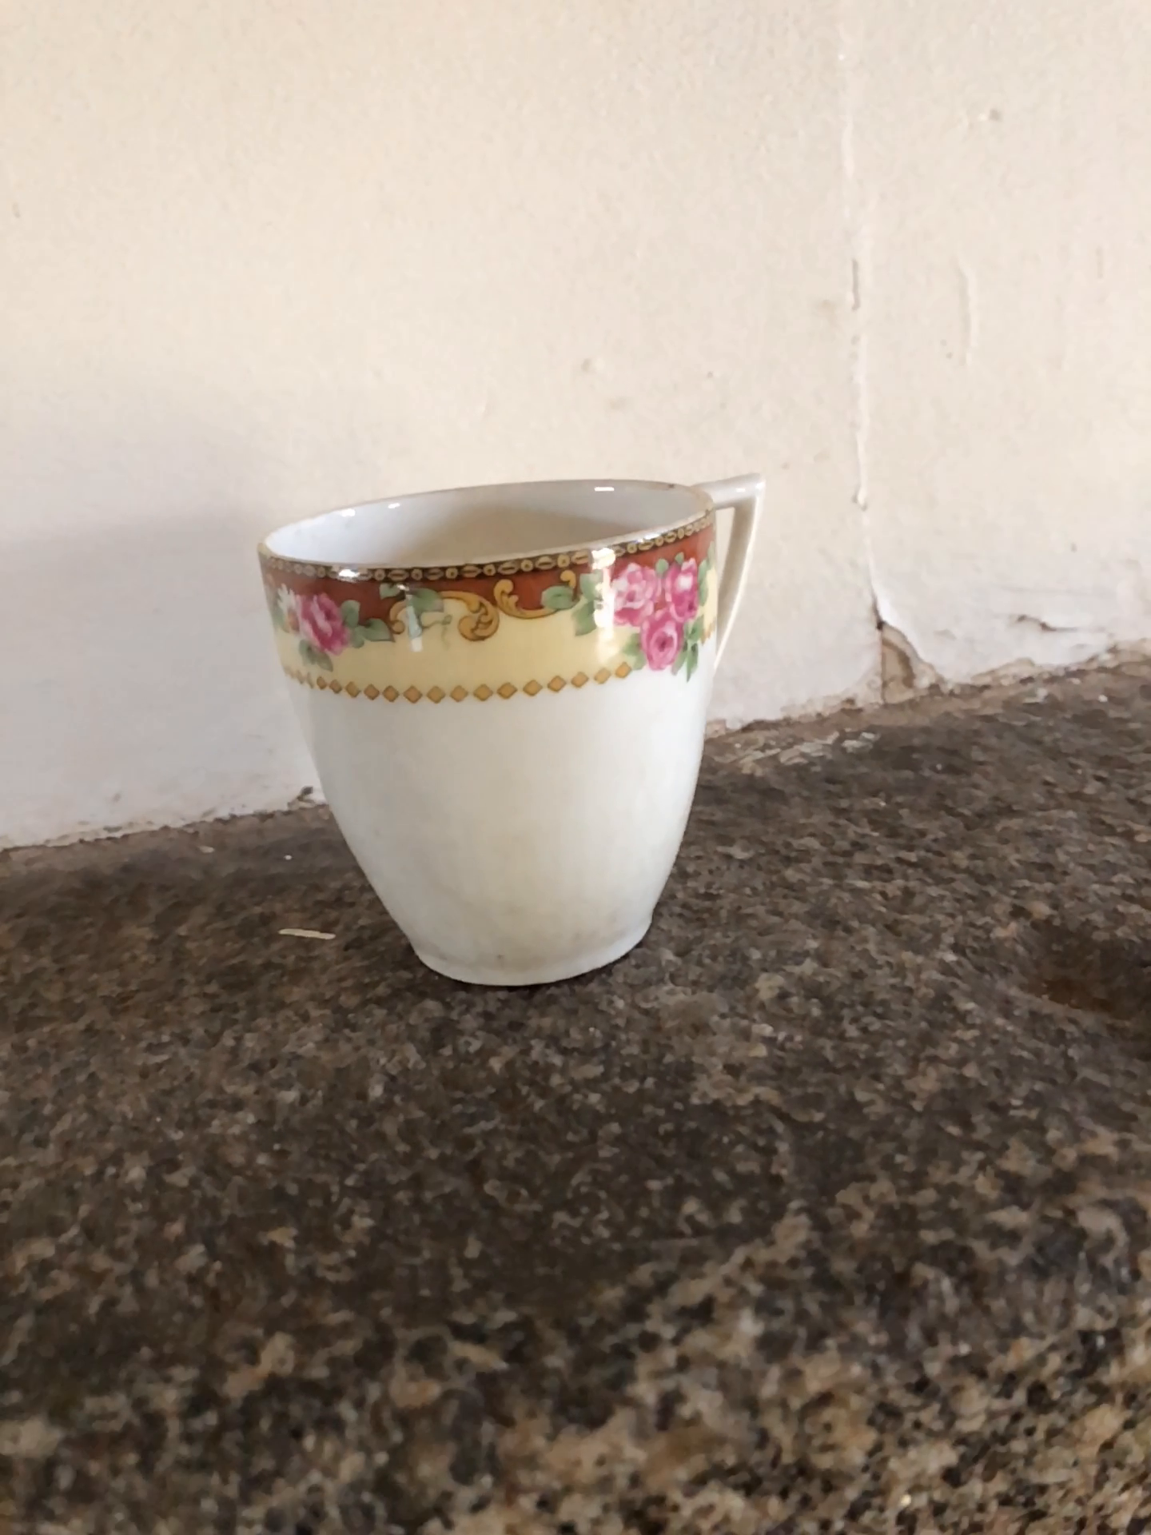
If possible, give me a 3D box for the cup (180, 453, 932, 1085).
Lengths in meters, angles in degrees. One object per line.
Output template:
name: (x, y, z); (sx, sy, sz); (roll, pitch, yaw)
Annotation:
cup: (-0.003, -0.009, 0.201); (0.090, 0.060, 0.070); (-16, 24, -24)
